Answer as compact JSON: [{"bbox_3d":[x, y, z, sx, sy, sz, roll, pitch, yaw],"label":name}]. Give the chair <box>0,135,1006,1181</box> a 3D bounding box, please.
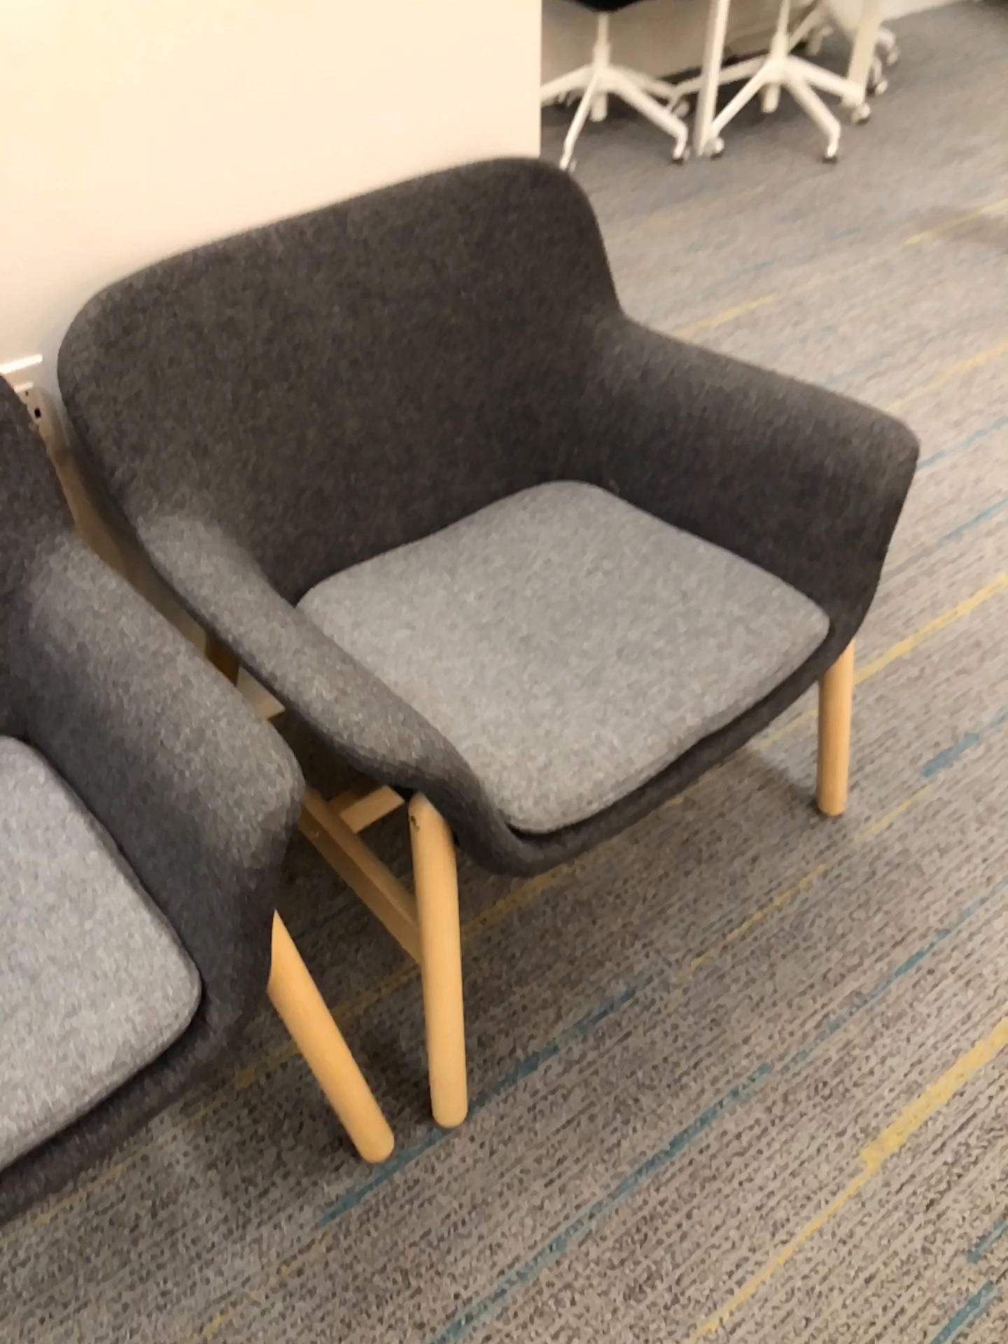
[{"bbox_3d":[-0.037,-0.057,1.393,0.741,0.834,0.734,-27,49,-25],"label":"chair"}]
